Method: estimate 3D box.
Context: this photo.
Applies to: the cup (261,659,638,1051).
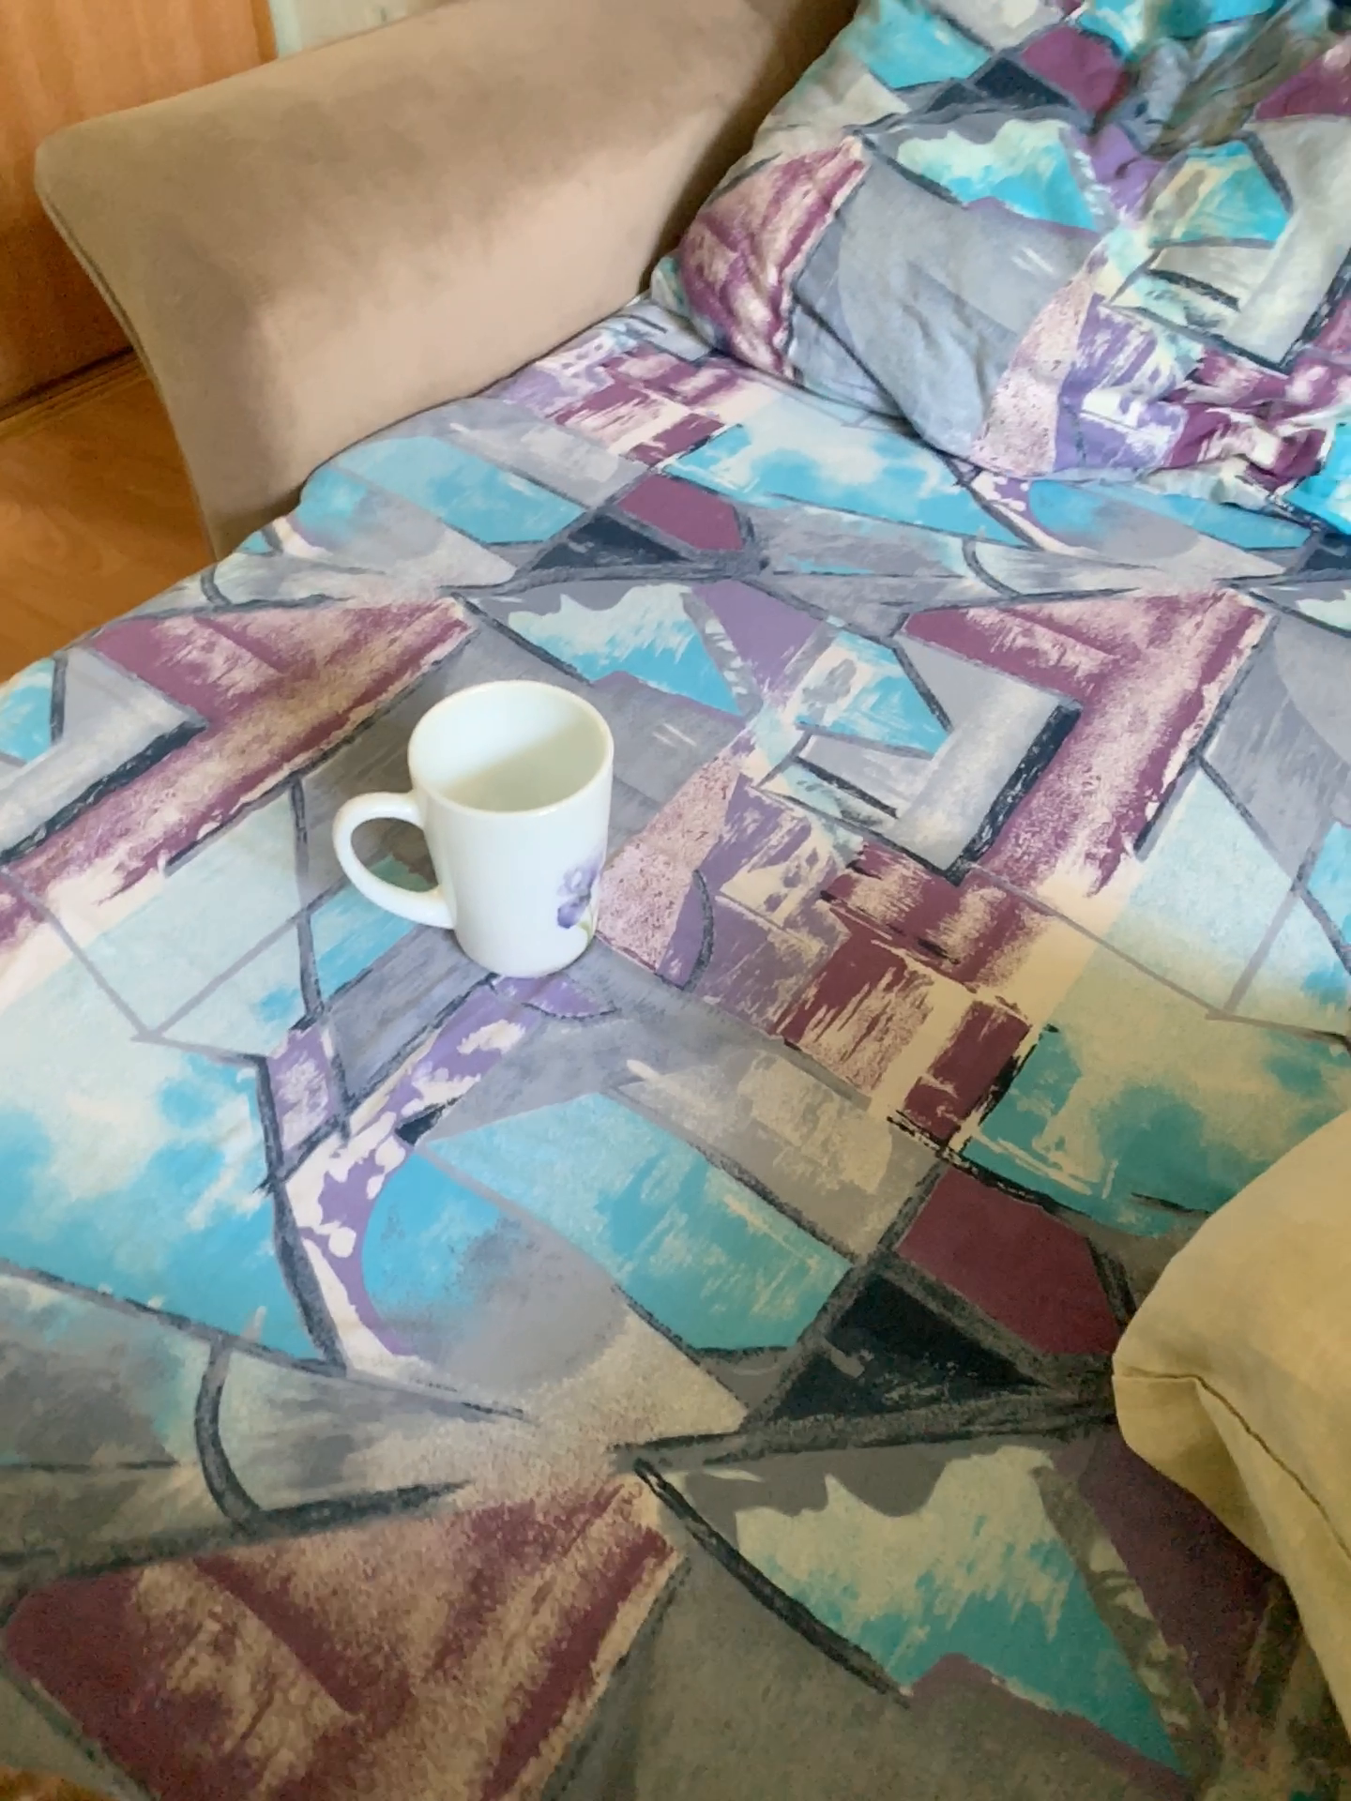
[{"bbox_3d":[-0.087,-0.019,0.550,0.120,0.099,0.081,-18,50,-18],"label":"cup"}]
